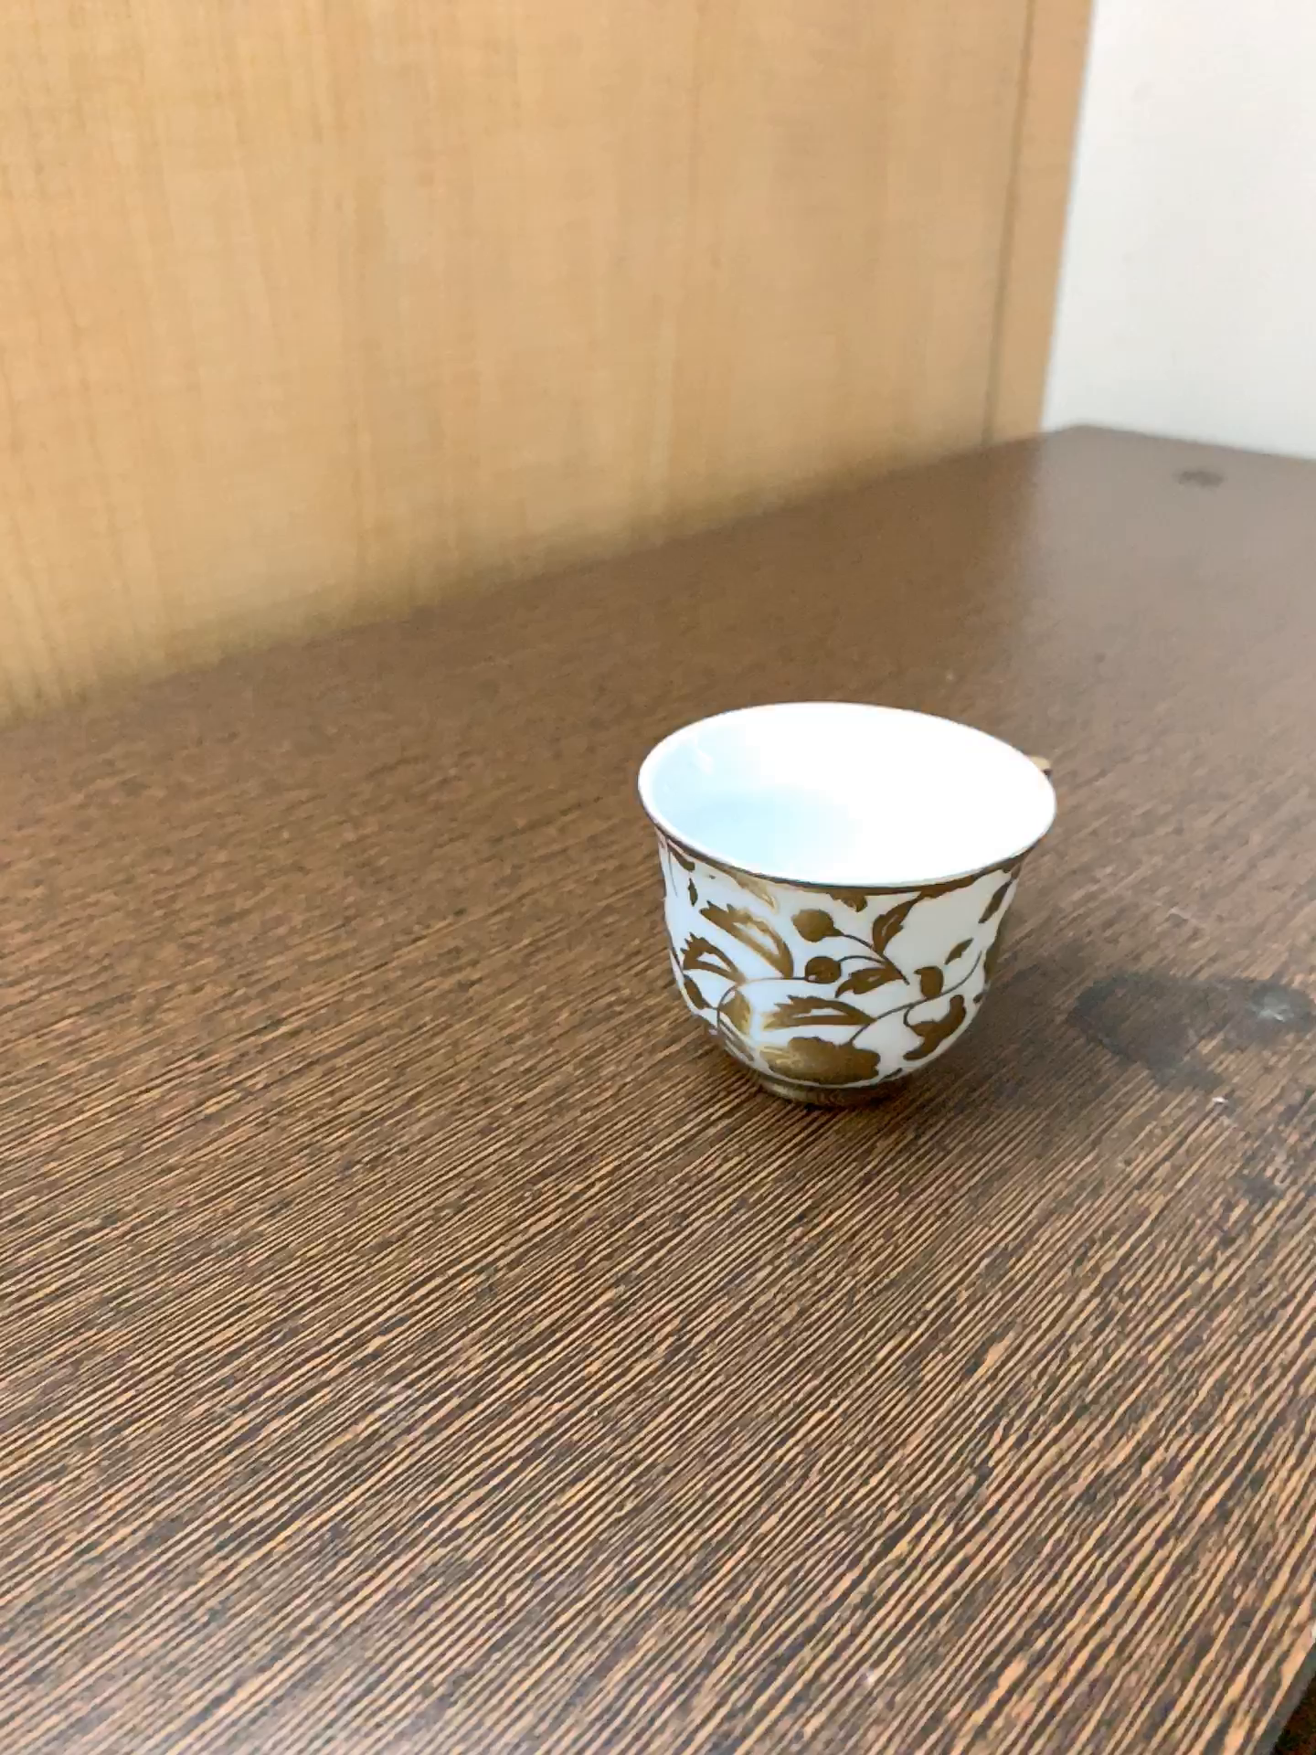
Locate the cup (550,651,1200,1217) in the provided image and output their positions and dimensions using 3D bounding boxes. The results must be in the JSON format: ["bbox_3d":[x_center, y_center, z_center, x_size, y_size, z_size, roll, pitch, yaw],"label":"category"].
[{"bbox_3d":[0.035,0.002,0.237,0.080,0.050,0.070,-23,36,-36],"label":"cup"}]

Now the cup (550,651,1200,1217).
[{"bbox_3d":[0.035,0.002,0.237,0.080,0.050,0.070,-23,36,-36],"label":"cup"}]
